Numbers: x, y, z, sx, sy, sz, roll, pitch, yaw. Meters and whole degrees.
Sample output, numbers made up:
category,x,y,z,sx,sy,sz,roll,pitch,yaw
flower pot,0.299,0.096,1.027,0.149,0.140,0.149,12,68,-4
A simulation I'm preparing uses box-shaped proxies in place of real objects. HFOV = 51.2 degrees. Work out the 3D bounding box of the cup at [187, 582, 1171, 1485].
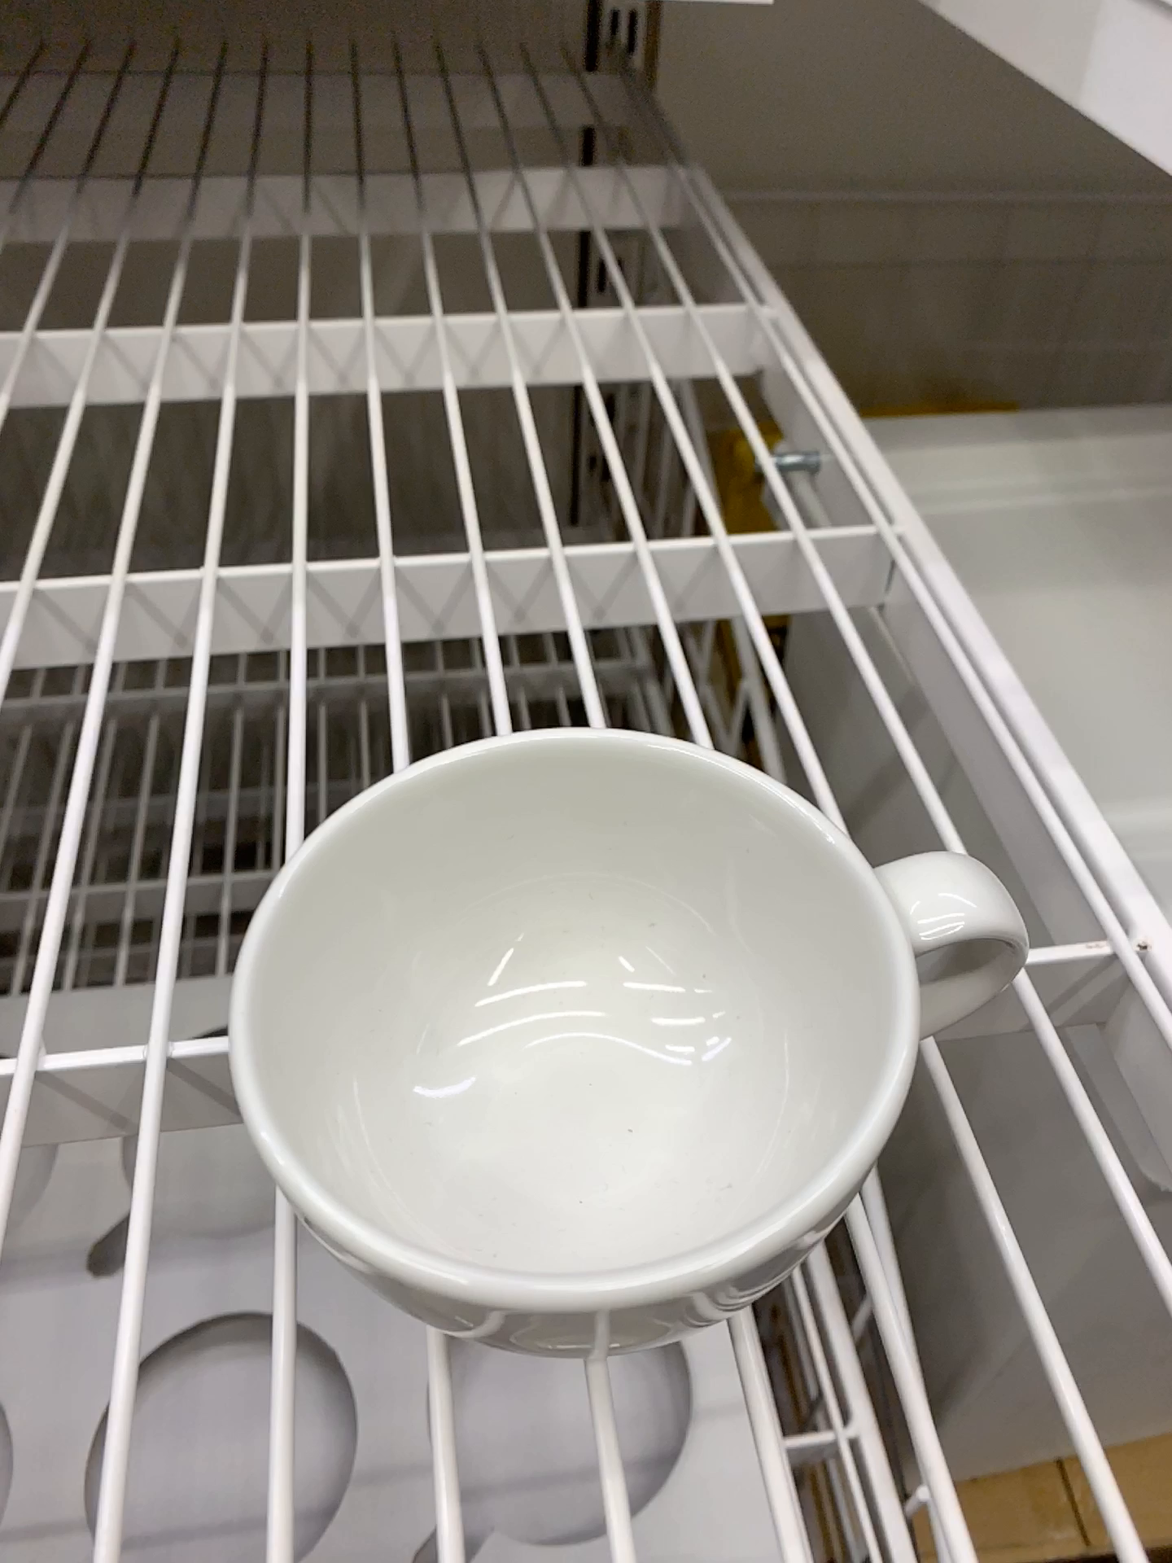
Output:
category,x,y,z,sx,sy,sz,roll,pitch,yaw
cup,0.011,0.022,0.168,0.116,0.036,0.097,-9,46,-13
